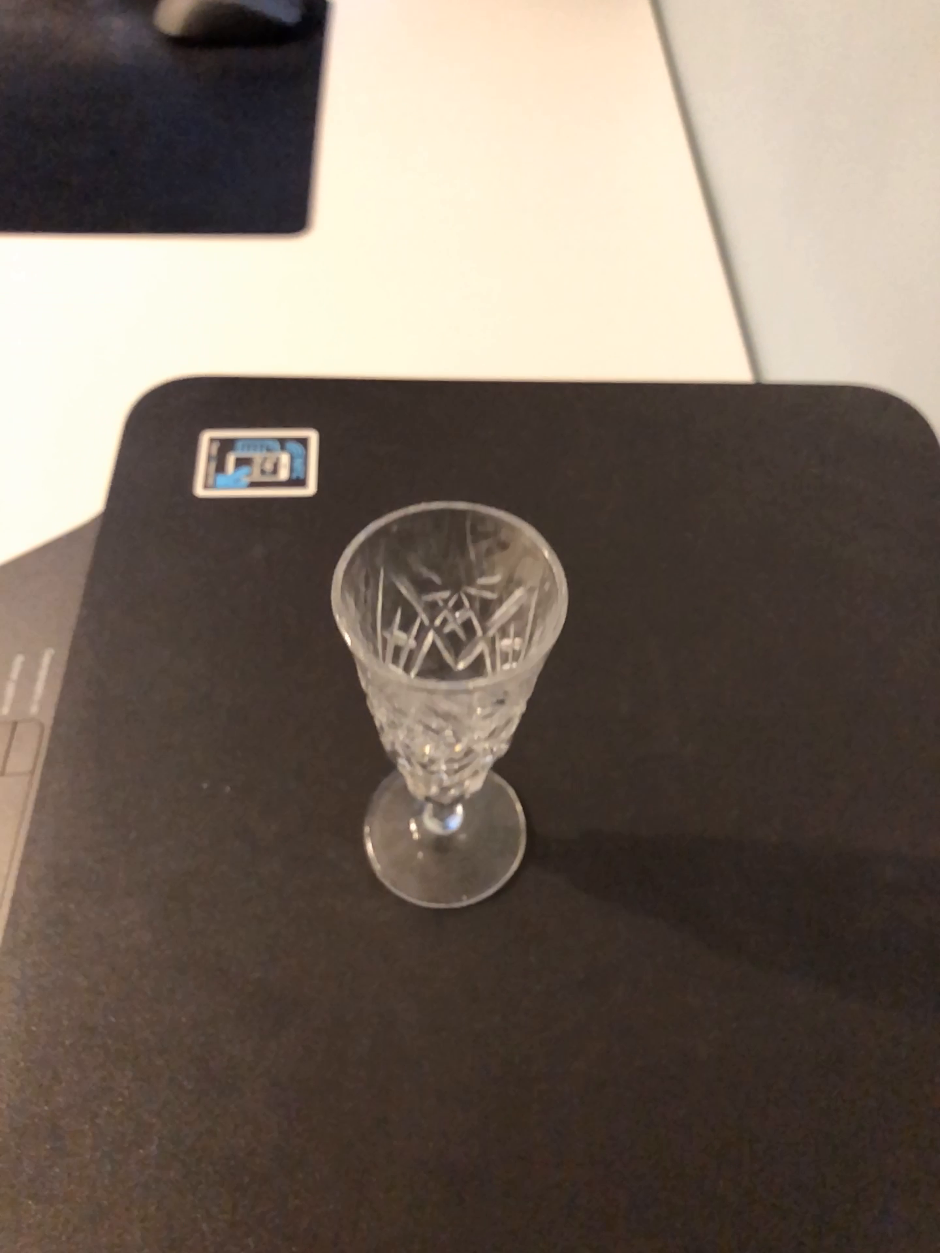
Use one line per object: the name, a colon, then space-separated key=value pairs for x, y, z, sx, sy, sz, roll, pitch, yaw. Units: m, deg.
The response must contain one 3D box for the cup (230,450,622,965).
cup: x=-0.009 y=0.025 z=0.250 sx=0.054 sy=0.109 sz=0.057 roll=1 pitch=55 yaw=-1
